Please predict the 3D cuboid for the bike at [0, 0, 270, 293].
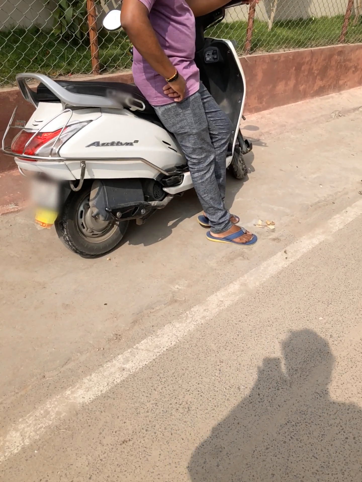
[{"bbox_3d":[-0.194,-0.698,2.194,0.618,1.112,1.561,24,41,26],"label":"bike"}]
